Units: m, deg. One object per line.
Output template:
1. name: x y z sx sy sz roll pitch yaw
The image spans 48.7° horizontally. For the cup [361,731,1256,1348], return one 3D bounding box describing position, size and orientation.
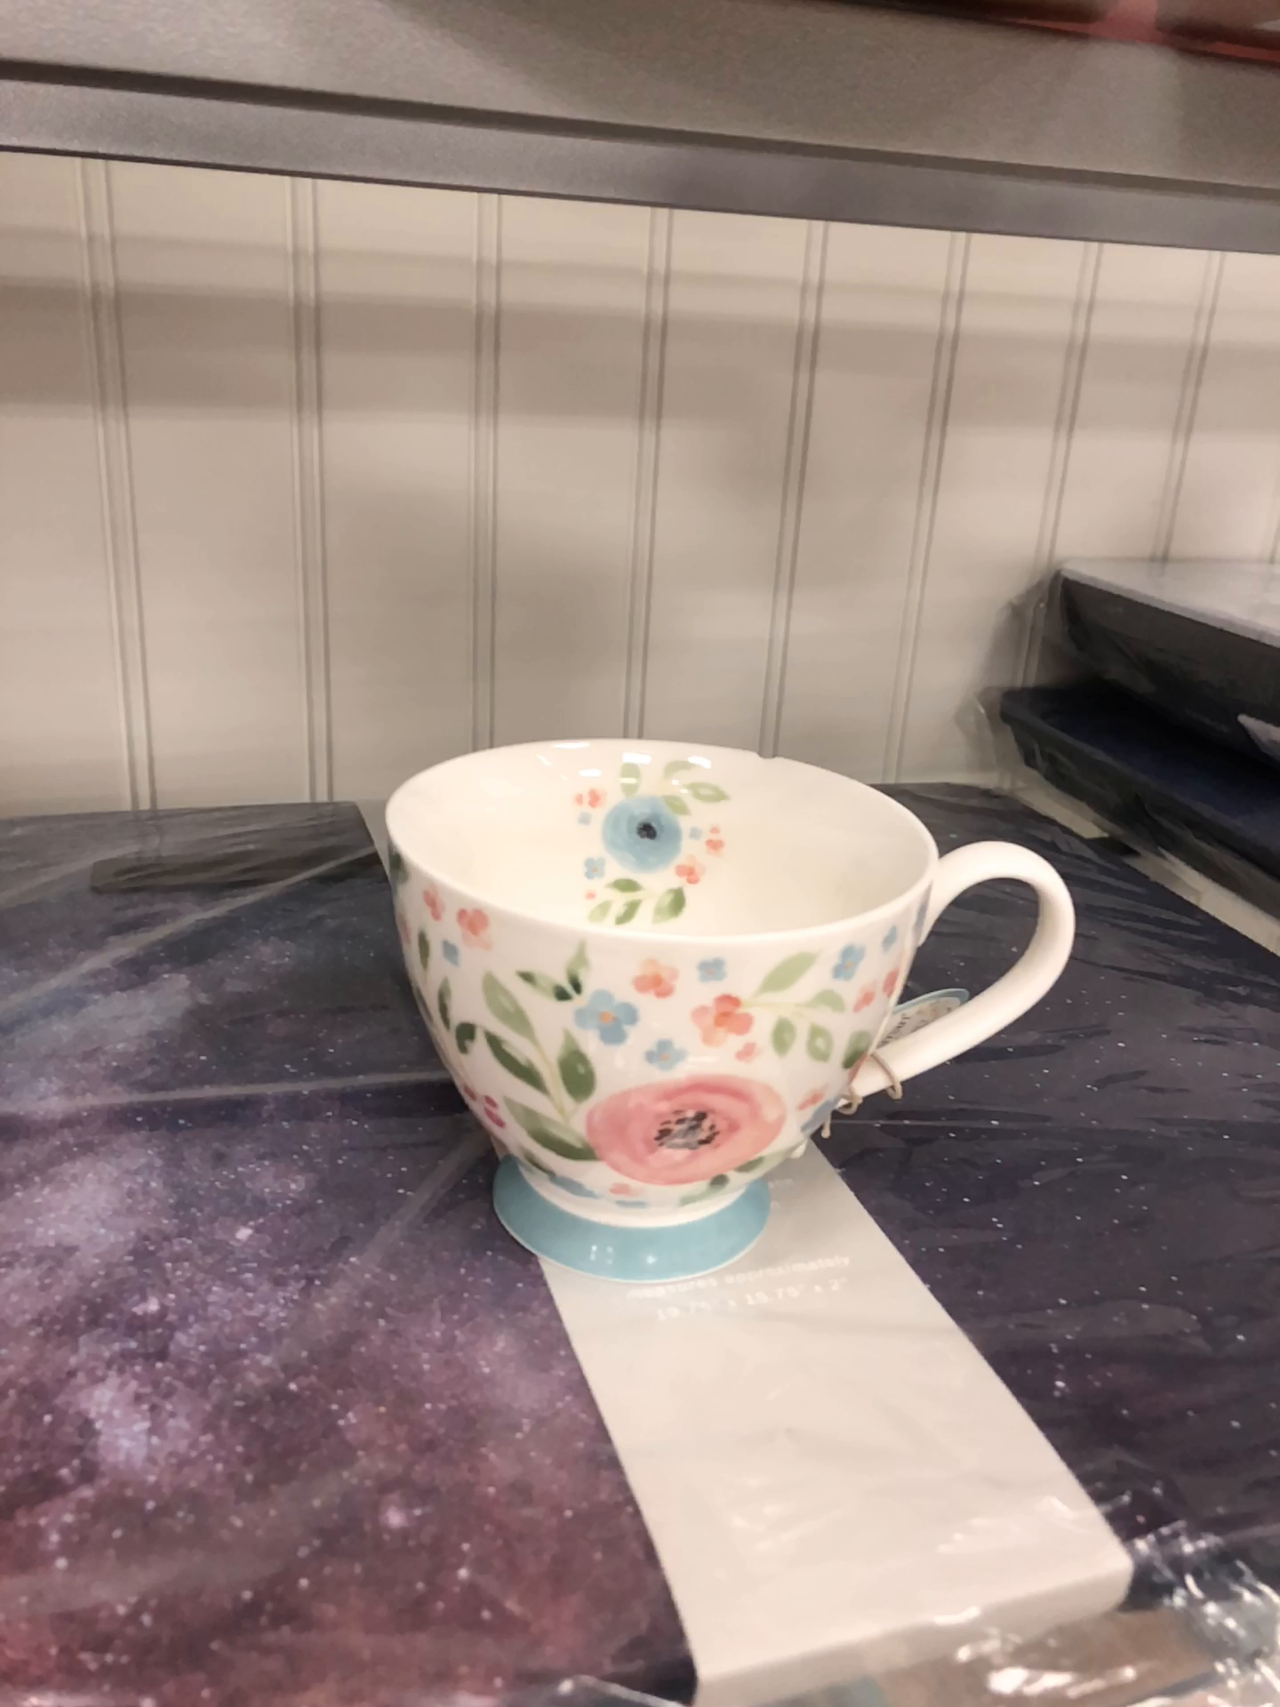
1. cup: 0.022 0.031 0.297 0.150 0.079 0.111 1 22 -7
